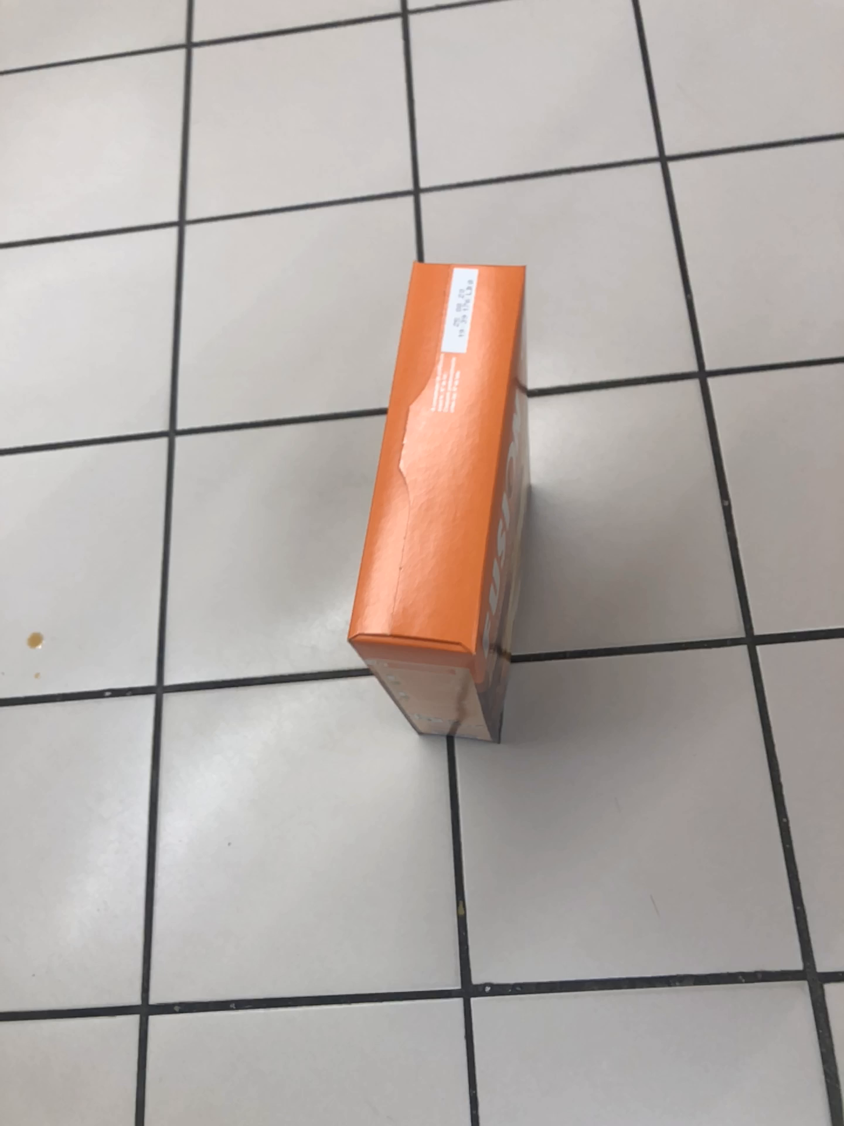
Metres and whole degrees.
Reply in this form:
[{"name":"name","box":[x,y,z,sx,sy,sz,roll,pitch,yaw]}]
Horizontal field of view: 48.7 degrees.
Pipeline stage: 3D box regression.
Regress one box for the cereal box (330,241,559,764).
[{"name":"cereal box","box":[0.026,-0.011,0.514,0.070,0.249,0.201,6,71,8]}]
